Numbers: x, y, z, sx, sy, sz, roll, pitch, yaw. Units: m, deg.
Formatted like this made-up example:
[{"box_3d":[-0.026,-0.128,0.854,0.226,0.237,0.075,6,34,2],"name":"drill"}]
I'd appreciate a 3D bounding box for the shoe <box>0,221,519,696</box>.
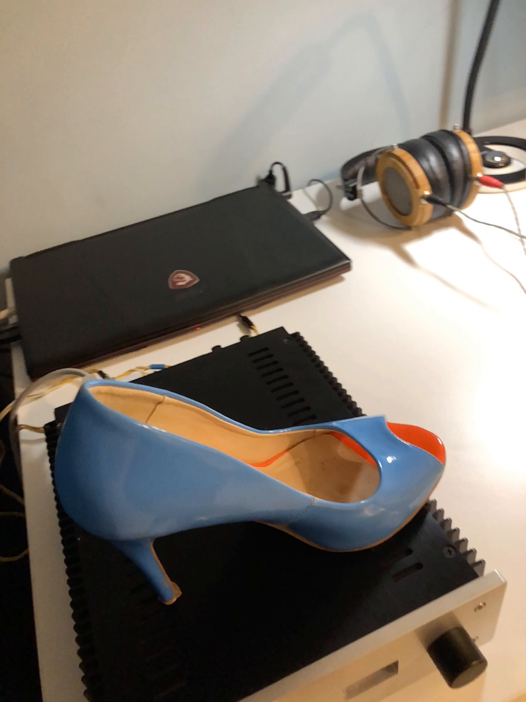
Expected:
[{"box_3d":[0.009,0.051,0.302,0.220,0.149,0.080,-25,42,-16],"name":"shoe"}]
